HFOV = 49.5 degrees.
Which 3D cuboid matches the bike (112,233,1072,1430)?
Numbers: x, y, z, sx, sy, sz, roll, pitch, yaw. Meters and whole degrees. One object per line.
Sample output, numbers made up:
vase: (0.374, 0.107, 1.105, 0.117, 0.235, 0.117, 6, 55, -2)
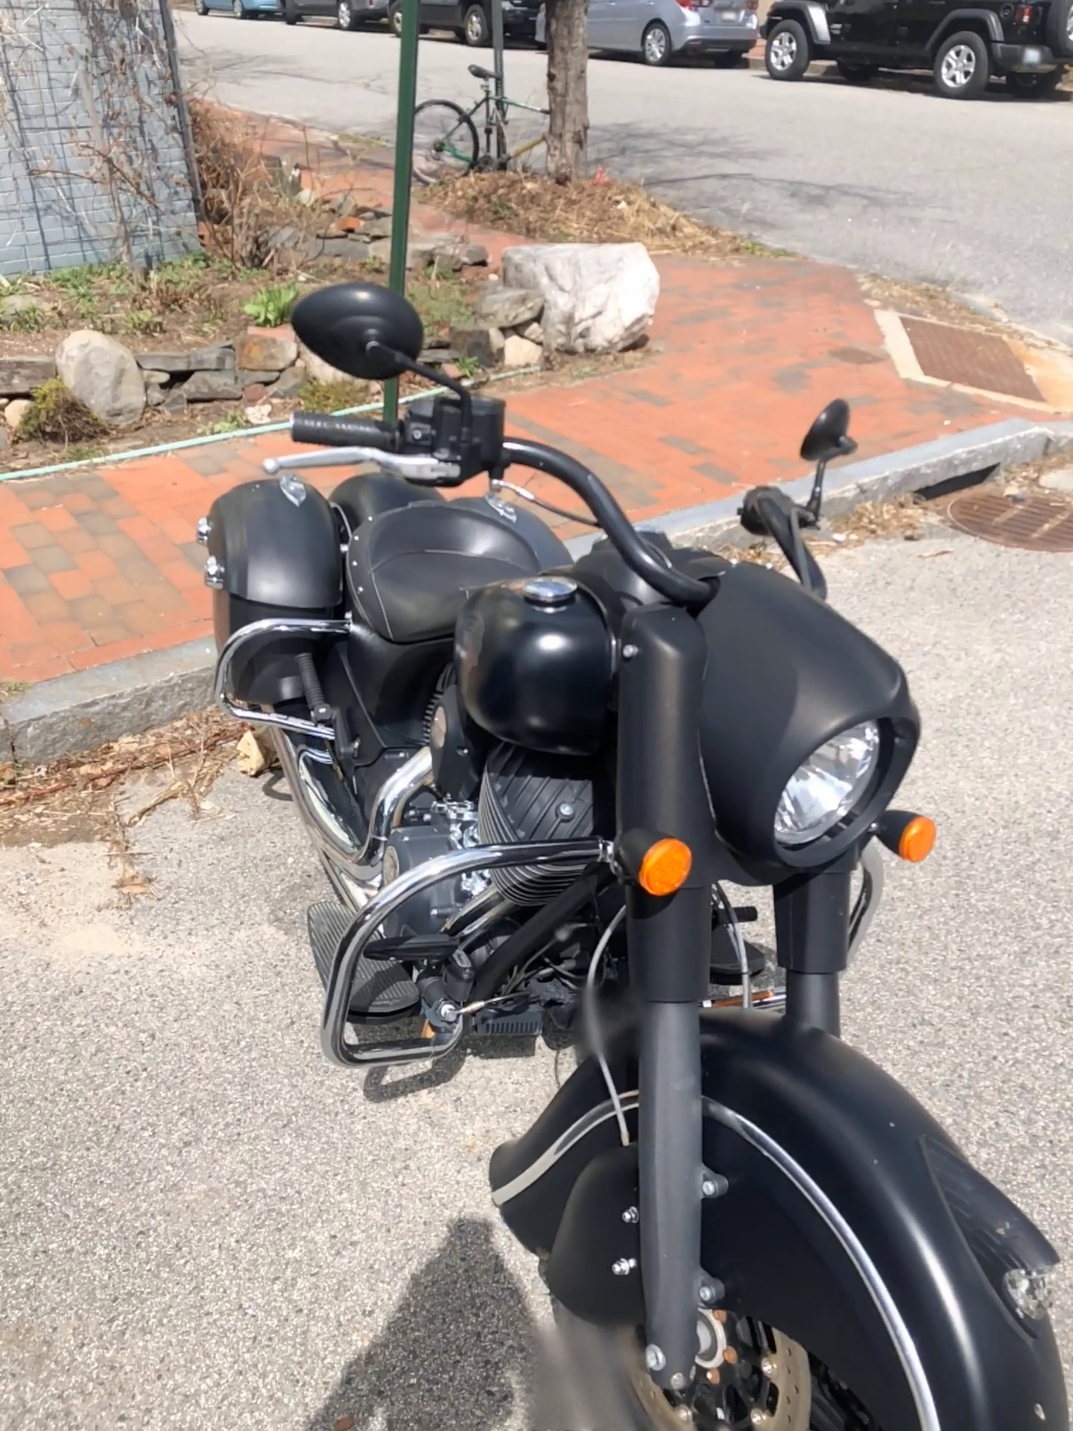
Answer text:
bike: (-0.003, 0.070, 1.817, 0.781, 1.238, 2.136, -15, 32, -20)
